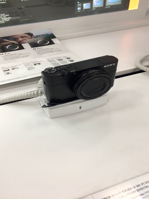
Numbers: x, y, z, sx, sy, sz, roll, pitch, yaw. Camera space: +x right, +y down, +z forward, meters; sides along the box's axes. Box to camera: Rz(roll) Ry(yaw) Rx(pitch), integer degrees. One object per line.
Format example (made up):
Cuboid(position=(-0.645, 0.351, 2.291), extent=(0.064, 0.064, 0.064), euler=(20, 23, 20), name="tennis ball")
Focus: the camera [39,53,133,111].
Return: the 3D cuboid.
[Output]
Cuboid(position=(0.017, -0.027, 0.290), extent=(0.116, 0.056, 0.037), euler=(-17, 50, -16), name="camera")
